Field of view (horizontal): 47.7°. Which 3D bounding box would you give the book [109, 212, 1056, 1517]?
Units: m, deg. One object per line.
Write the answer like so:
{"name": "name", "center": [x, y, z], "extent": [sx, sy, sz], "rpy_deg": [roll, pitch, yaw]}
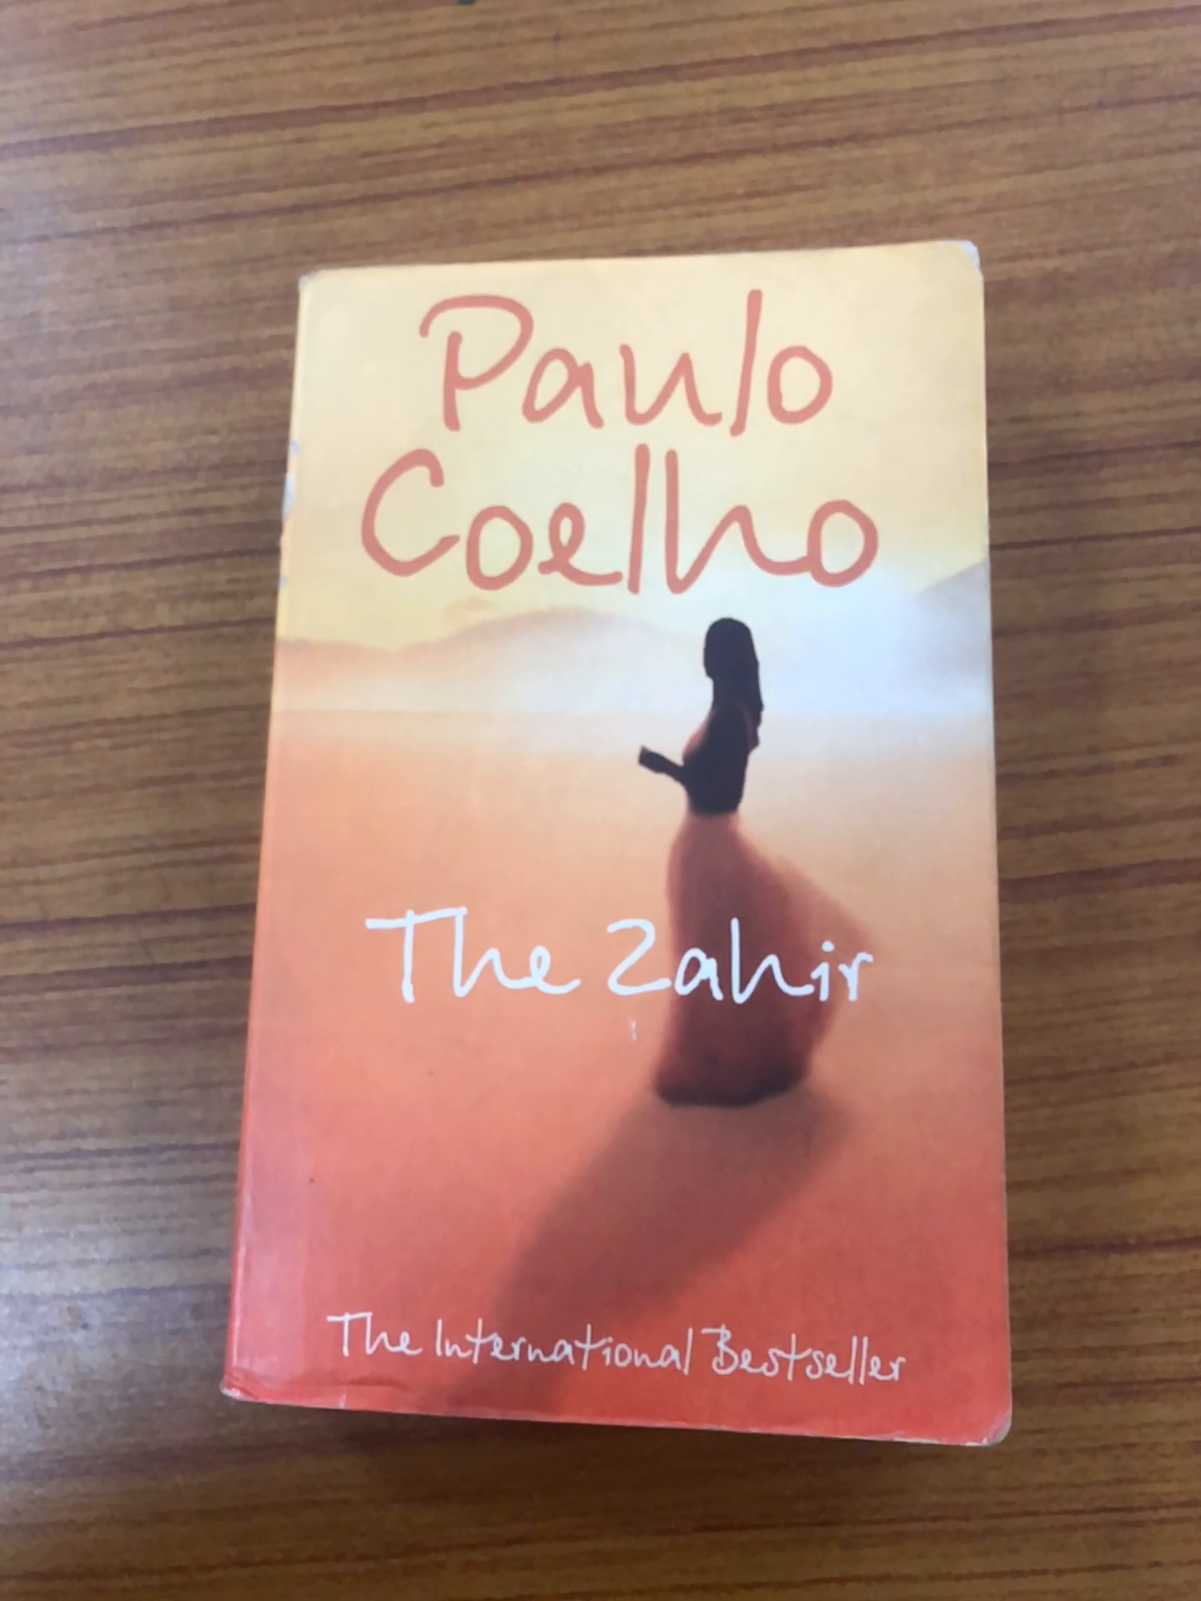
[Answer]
{"name": "book", "center": [-0.002, 0.005, 0.209], "extent": [0.120, 0.040, 0.180], "rpy_deg": [-1, 79, 4]}
